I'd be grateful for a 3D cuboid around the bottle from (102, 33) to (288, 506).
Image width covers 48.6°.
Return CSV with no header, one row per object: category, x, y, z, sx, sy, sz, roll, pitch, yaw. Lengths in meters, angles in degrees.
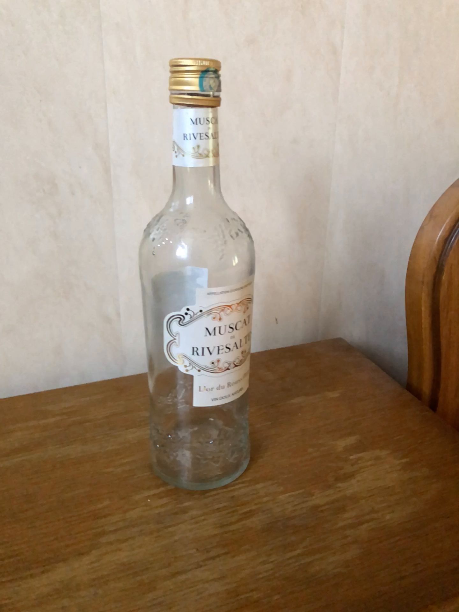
bottle,-0.025,-0.017,0.349,0.080,0.289,0.080,1,21,0
